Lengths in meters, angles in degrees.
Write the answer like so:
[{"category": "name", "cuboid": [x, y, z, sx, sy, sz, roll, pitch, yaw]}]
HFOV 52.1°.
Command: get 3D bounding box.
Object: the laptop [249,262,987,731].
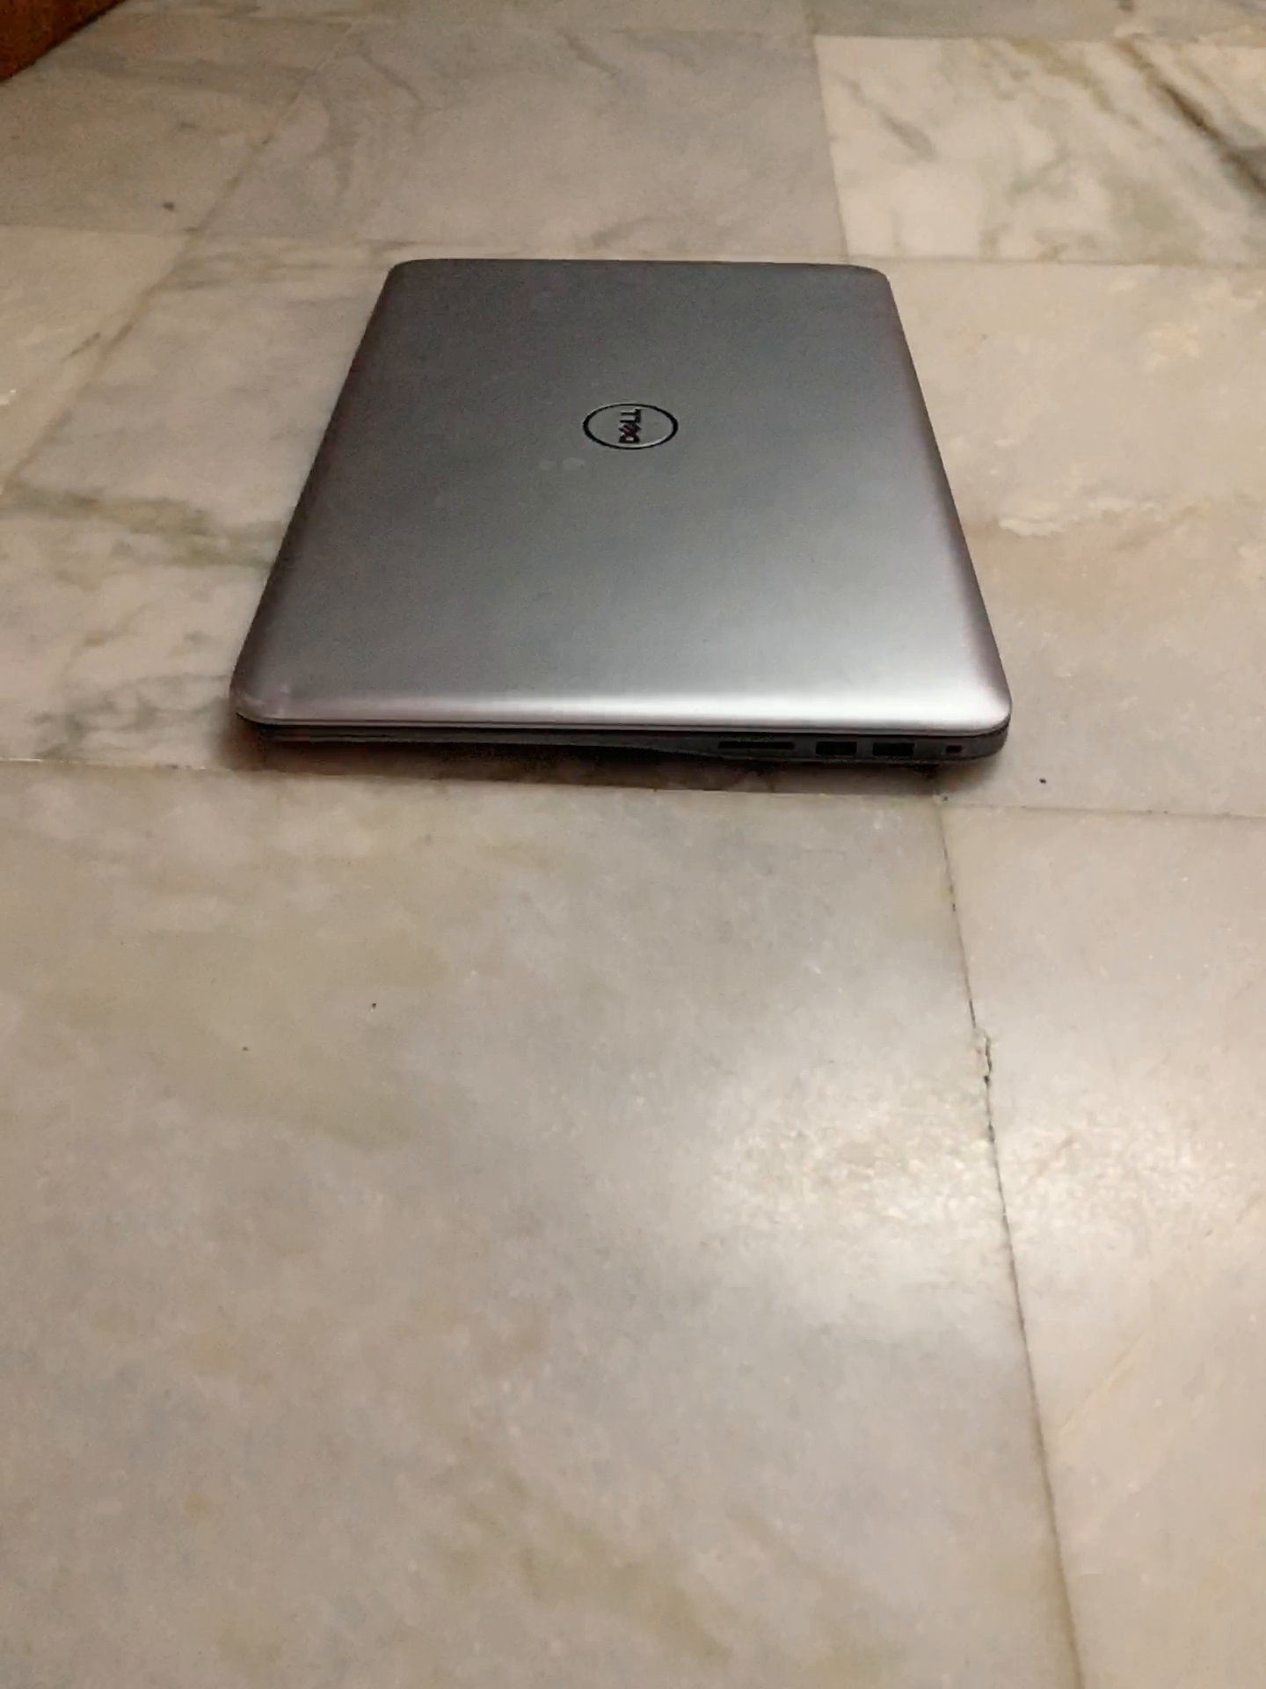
[{"category": "laptop", "cuboid": [-0.001, -0.165, 0.533, 0.234, 0.001, 0.353, 1, 46, 0]}]
